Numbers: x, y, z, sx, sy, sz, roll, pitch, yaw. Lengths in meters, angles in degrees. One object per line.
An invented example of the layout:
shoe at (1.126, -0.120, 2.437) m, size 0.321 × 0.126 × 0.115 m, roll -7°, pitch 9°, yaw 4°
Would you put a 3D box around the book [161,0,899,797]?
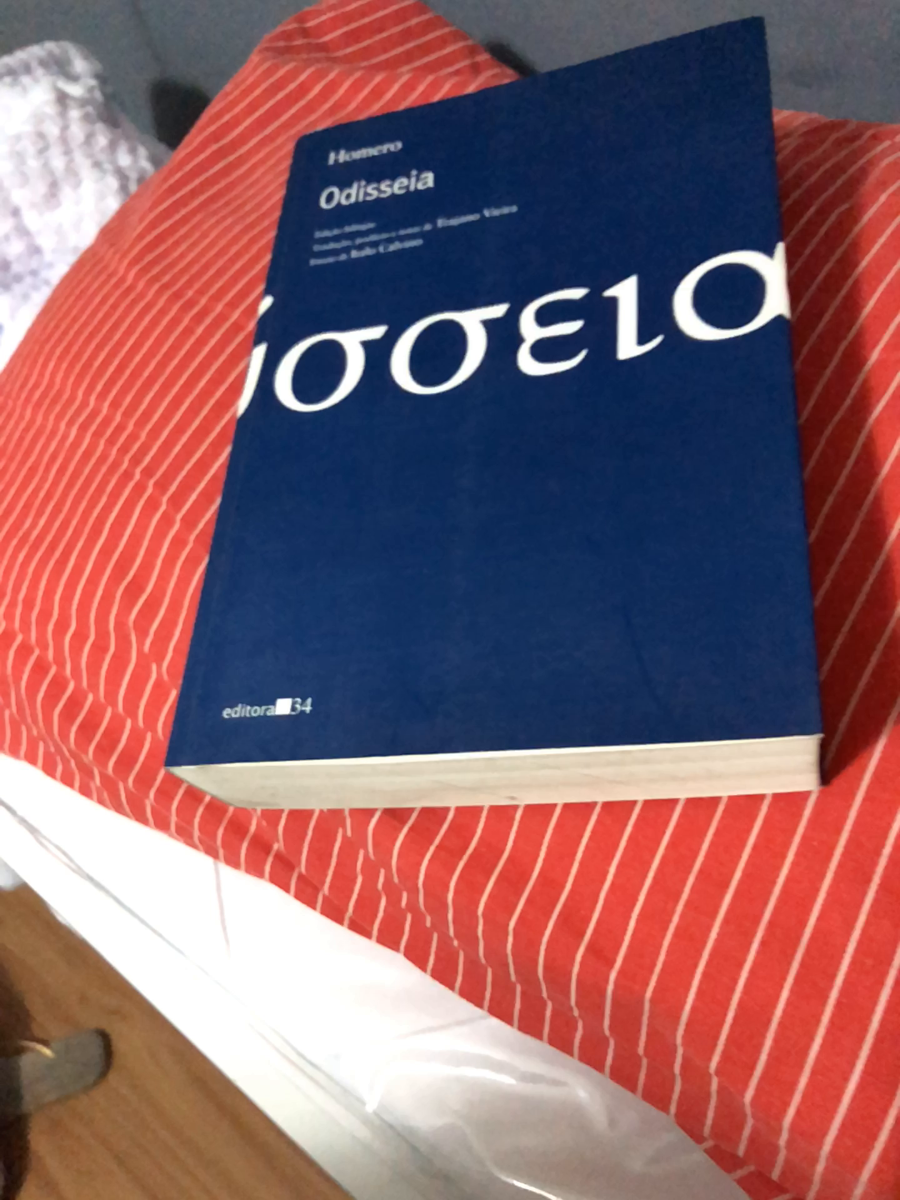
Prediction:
book at (0.025, -0.063, 0.289) m, size 0.170 × 0.040 × 0.231 m, roll -5°, pitch 61°, yaw 21°
